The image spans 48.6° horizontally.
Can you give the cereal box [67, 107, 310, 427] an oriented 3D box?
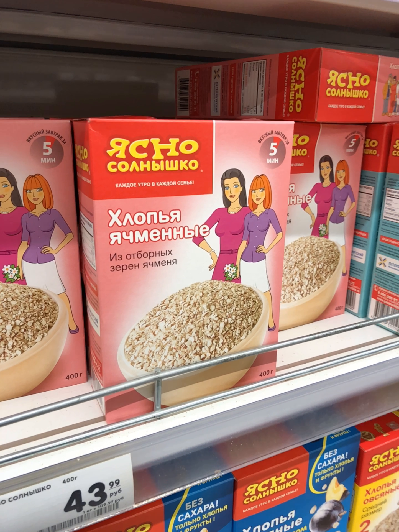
[{"bbox_3d":[-0.006,-0.005,0.299,0.140,0.189,0.050,-8,19,-24],"label":"cereal box"}]
